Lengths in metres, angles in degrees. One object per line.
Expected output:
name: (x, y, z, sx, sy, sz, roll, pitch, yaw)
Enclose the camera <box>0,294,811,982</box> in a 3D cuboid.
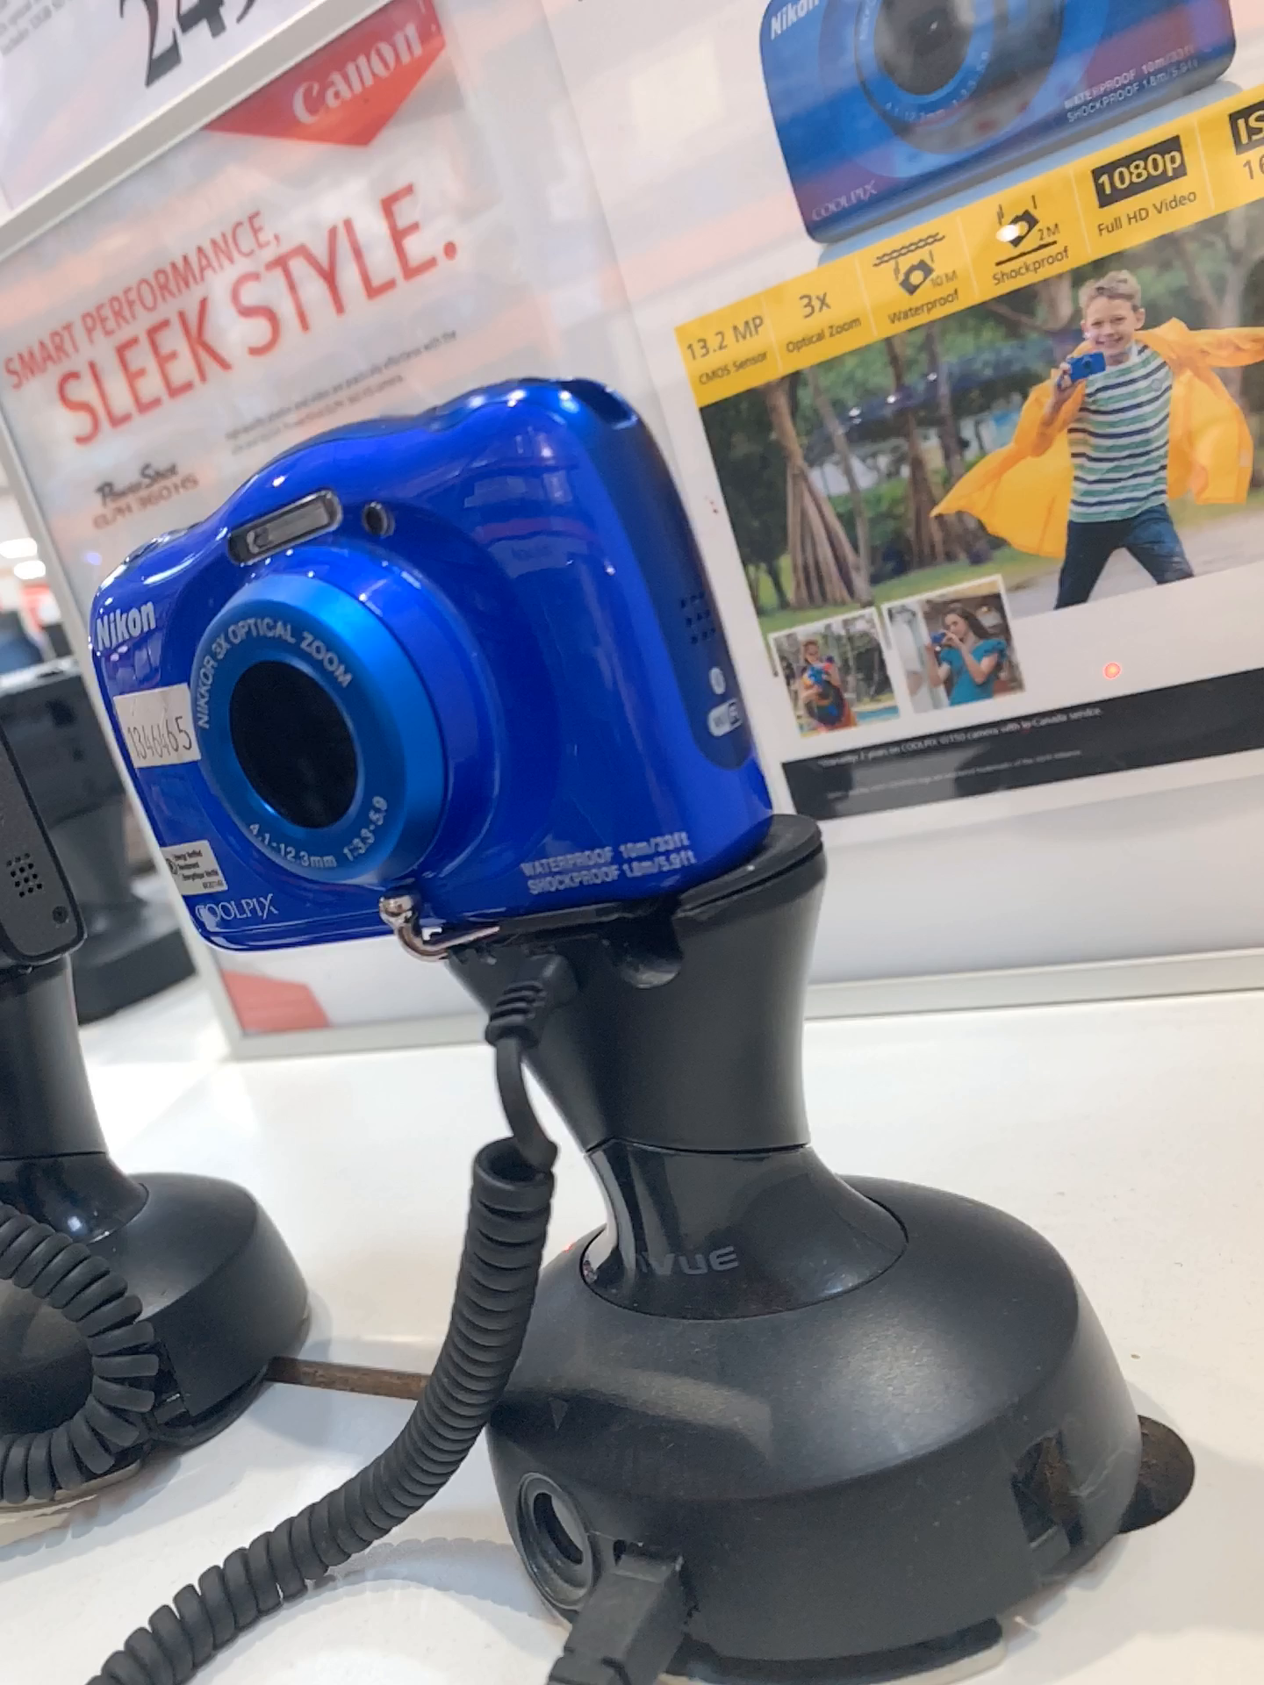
camera: (-0.038, -0.023, 0.177, 0.101, 0.063, 0.046, -9, 14, 36)
